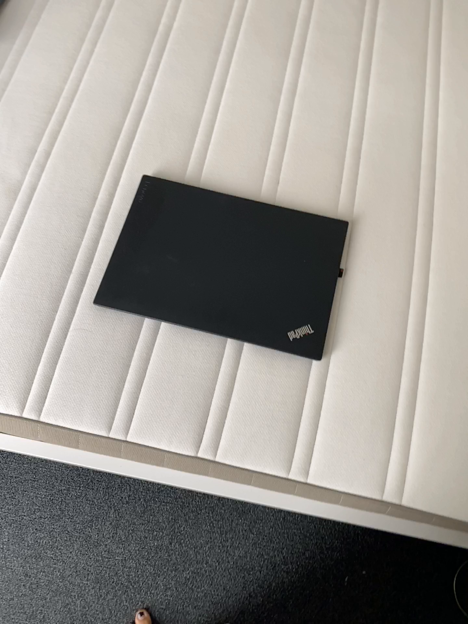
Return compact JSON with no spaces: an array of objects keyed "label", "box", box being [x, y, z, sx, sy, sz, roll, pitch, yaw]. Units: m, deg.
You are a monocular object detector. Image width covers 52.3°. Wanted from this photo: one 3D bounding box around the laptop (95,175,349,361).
[{"label":"laptop","box":[-0.010,-0.064,0.619,0.288,0.005,0.193,14,72,3]}]
